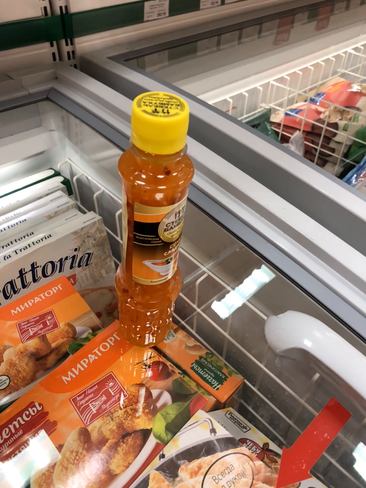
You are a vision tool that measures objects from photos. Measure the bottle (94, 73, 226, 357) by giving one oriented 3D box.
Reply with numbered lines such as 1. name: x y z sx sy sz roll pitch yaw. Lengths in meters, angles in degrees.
1. bottle: -0.019 -0.002 0.277 0.049 0.201 0.051 4 47 -4
